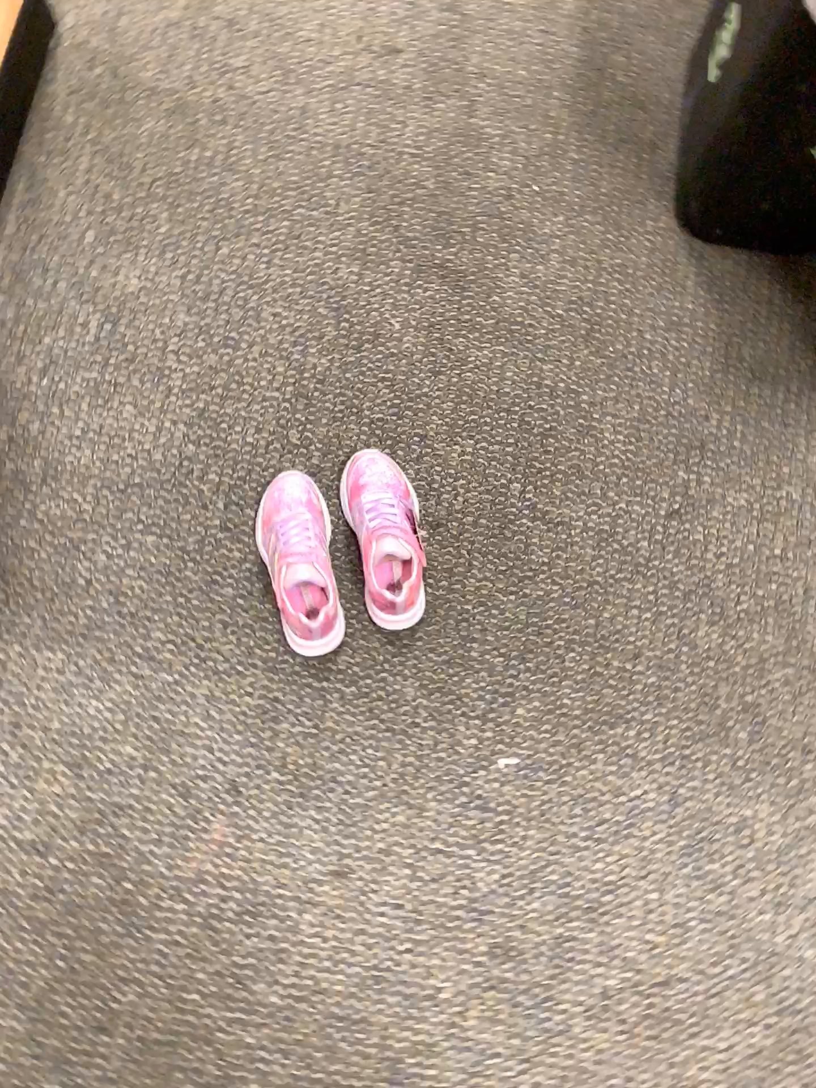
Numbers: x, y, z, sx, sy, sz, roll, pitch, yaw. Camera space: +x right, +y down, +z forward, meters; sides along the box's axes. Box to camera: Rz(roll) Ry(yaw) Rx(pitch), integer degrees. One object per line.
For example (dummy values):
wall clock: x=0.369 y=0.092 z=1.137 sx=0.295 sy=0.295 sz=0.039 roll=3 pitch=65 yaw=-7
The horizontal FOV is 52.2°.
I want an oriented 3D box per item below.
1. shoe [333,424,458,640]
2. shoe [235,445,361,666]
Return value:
shoe: x=-0.017 y=-0.009 z=0.891 sx=0.086 sy=0.110 sz=0.200 roll=-11 pitch=80 yaw=-6
shoe: x=-0.112 y=0.017 z=0.864 sx=0.086 sy=0.110 sz=0.200 roll=-11 pitch=80 yaw=-6
